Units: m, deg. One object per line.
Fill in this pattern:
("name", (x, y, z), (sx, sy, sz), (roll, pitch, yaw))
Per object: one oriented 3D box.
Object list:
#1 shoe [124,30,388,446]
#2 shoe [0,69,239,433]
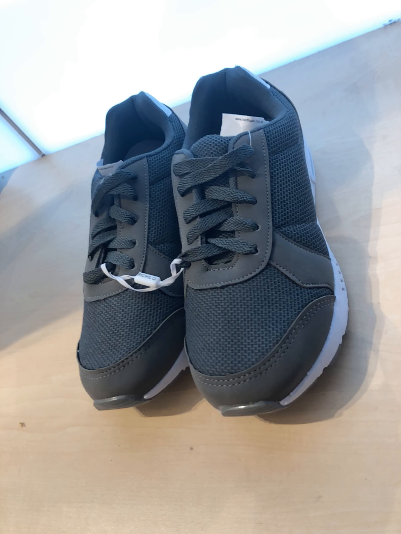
("shoe", (0.038, -0.026, 0.288), (0.100, 0.099, 0.241), (-14, 51, 23))
("shoe", (-0.042, -0.015, 0.319), (0.100, 0.099, 0.231), (-12, 52, 24))
